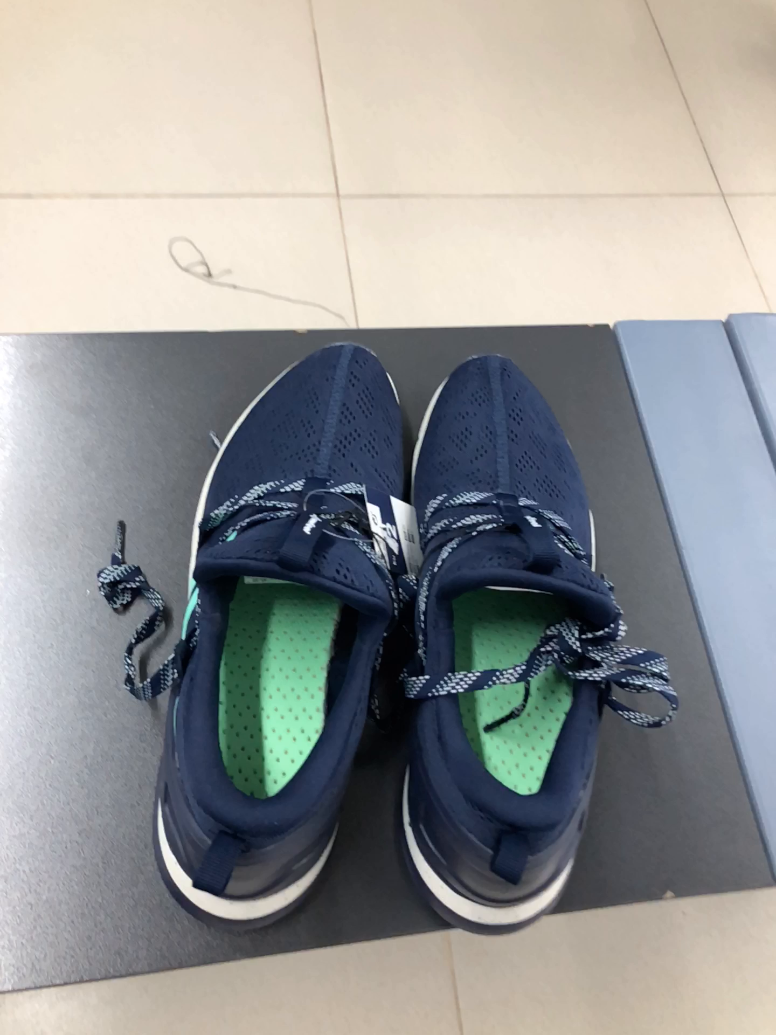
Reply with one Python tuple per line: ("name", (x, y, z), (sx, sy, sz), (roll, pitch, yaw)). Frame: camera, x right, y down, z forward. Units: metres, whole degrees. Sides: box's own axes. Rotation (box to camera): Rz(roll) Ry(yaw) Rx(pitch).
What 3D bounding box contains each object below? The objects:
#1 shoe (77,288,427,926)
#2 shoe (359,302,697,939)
("shoe", (-0.048, 0.040, 0.385), (0.100, 0.120, 0.251), (7, 63, -5))
("shoe", (0.052, 0.046, 0.386), (0.100, 0.120, 0.251), (7, 63, -5))
